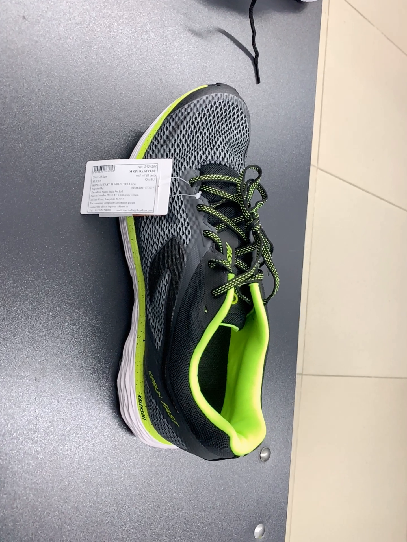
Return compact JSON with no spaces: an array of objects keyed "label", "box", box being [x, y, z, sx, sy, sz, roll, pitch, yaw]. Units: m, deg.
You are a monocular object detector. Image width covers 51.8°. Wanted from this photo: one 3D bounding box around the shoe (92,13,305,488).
[{"label":"shoe","box":[-0.003,-0.013,0.346,0.110,0.110,0.310,9,82,-35]}]
